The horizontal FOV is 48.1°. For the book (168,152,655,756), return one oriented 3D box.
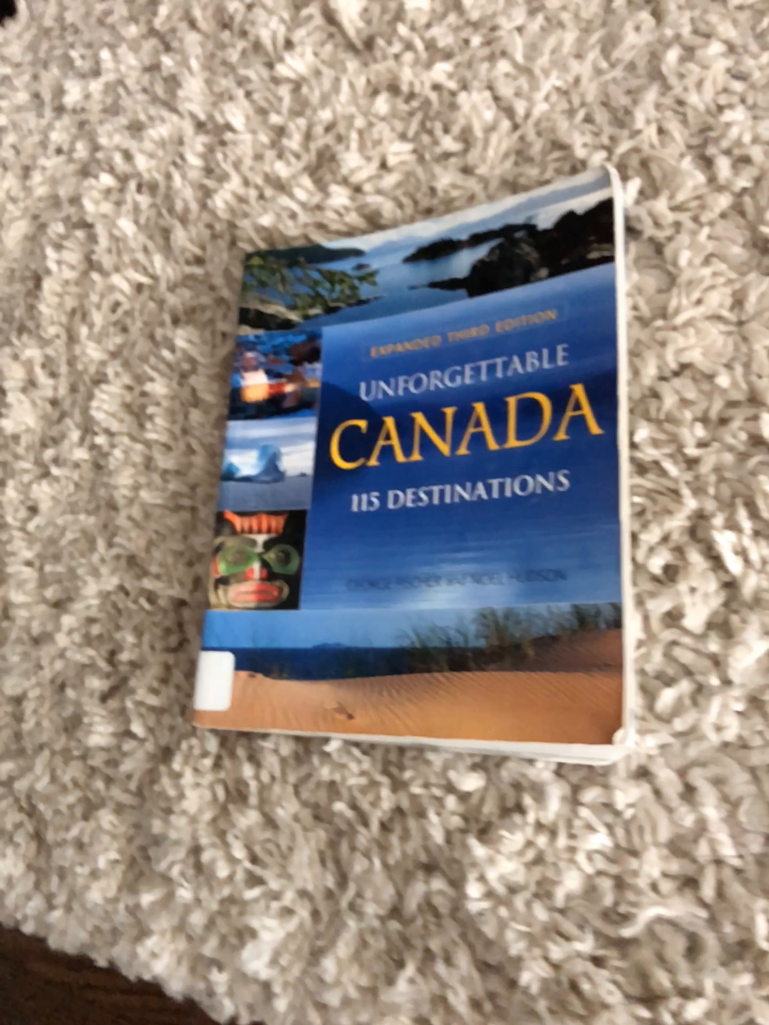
[{"bbox_3d":[0.010,-0.021,0.380,0.201,0.040,0.234,-4,73,27],"label":"book"}]
